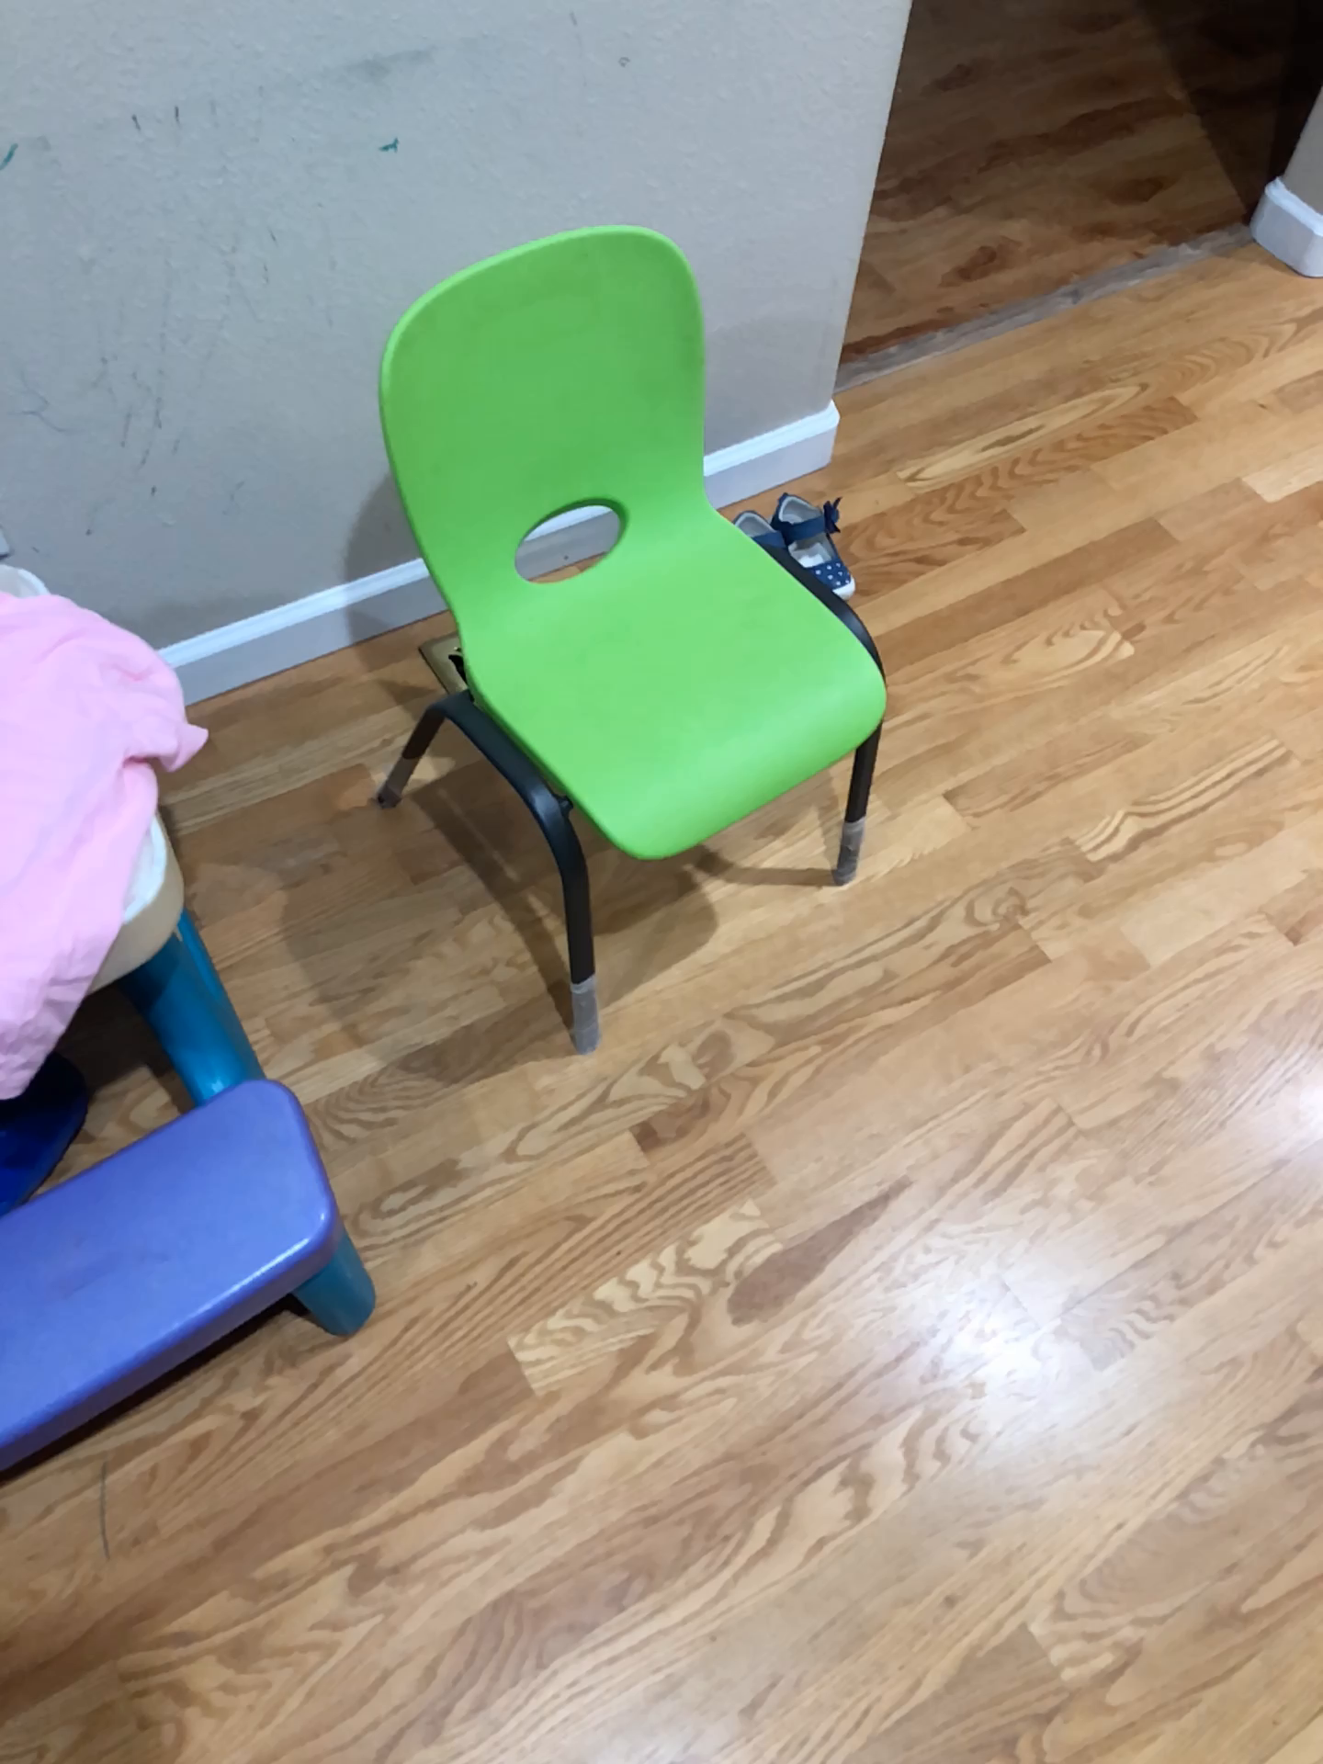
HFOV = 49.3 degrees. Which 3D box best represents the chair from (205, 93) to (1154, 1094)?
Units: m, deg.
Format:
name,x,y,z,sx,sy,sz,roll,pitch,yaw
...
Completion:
name,x,y,z,sx,sy,sz,roll,pitch,yaw
chair,-0.008,-0.245,1.284,0.511,0.558,0.481,-30,64,-22
